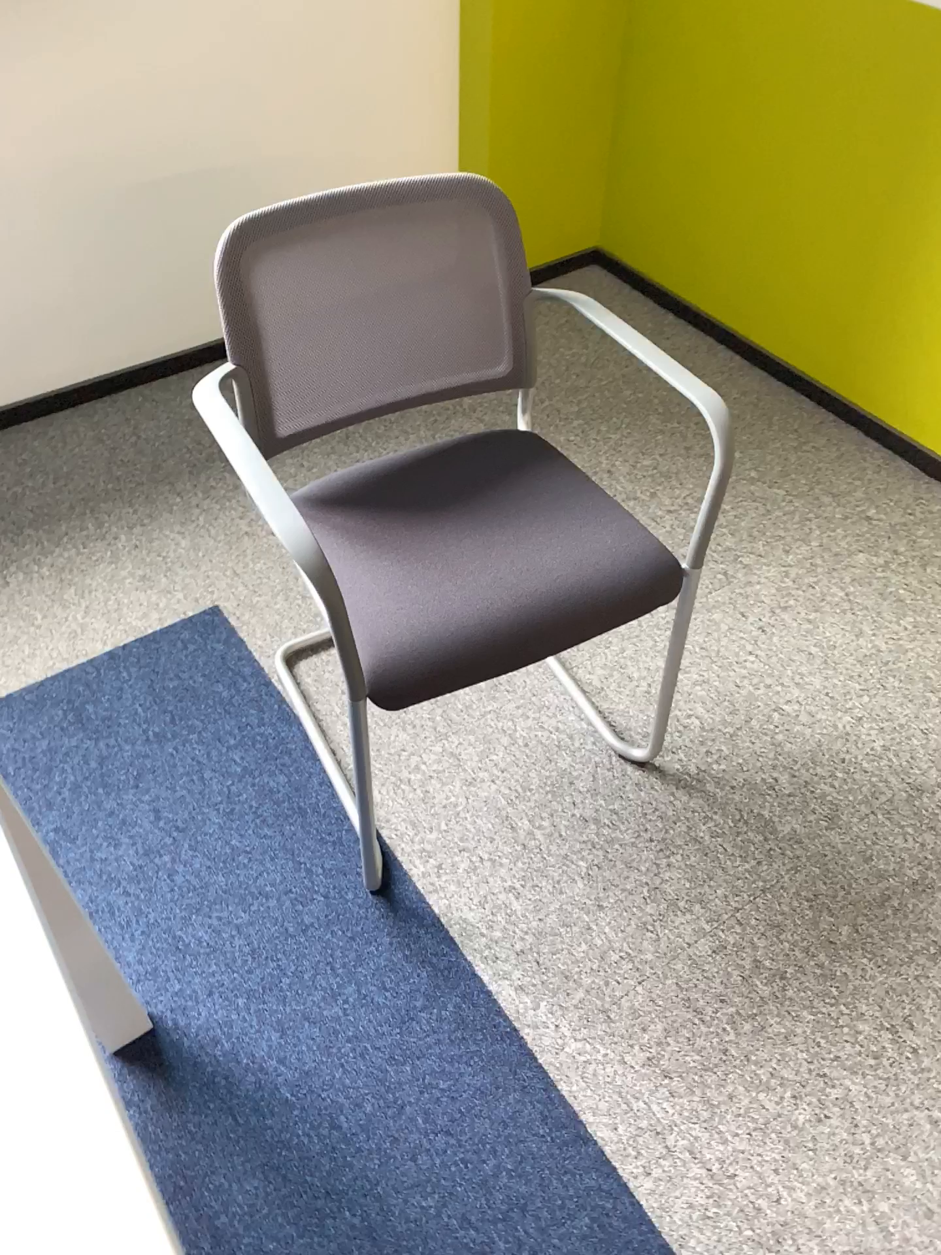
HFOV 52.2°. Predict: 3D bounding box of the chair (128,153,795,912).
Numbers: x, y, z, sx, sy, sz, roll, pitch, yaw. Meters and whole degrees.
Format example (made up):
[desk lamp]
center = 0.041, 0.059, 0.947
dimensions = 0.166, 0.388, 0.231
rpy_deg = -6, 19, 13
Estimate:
[chair]
center = -0.044, -0.120, 1.281
dimensions = 0.531, 0.726, 0.522
rpy_deg = -19, 50, -19
